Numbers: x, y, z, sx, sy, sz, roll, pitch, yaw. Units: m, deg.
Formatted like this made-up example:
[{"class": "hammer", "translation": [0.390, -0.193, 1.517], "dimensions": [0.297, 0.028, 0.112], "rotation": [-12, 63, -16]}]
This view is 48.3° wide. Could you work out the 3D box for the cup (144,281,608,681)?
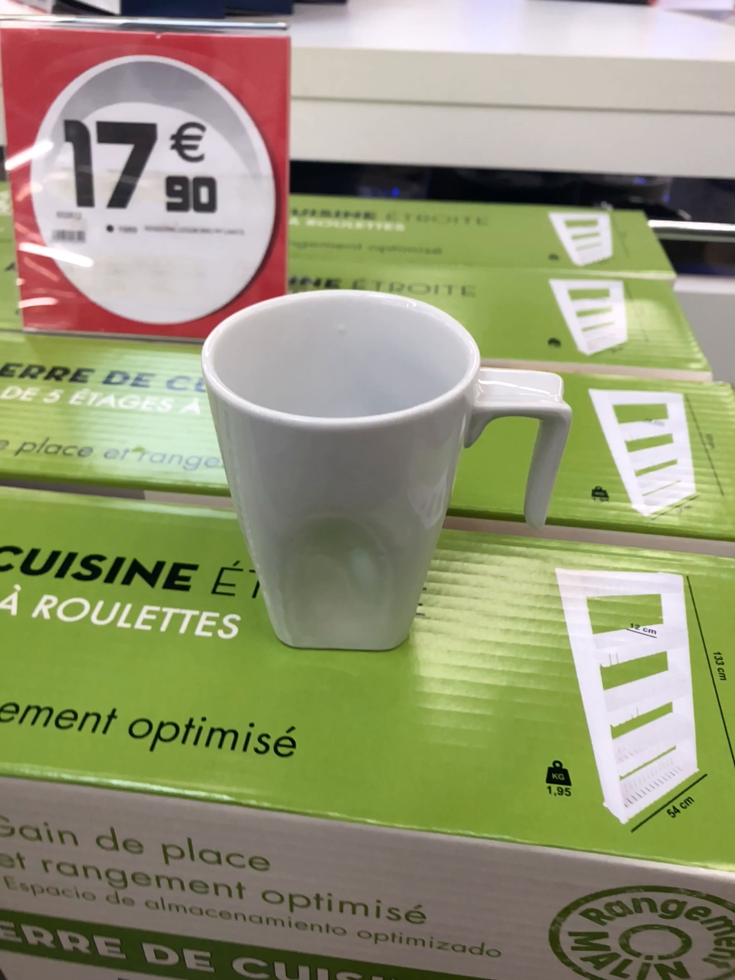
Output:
[{"class": "cup", "translation": [0.003, -0.005, 0.255], "dimensions": [0.111, 0.087, 0.083], "rotation": [3, 36, 2]}]
